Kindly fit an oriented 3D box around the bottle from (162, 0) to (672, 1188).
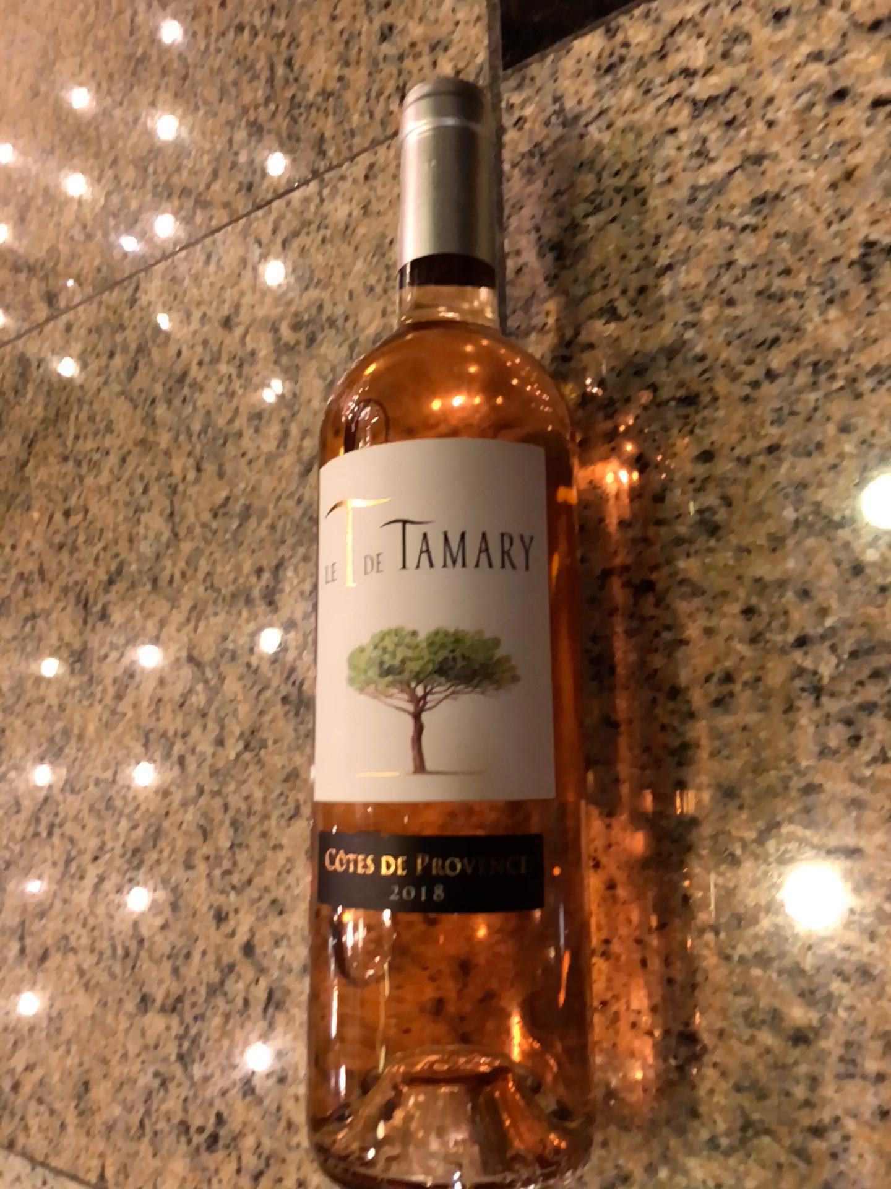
[{"bbox_3d":[-0.008,-0.028,0.261,0.090,0.080,0.320,-9,77,38],"label":"bottle"}]
